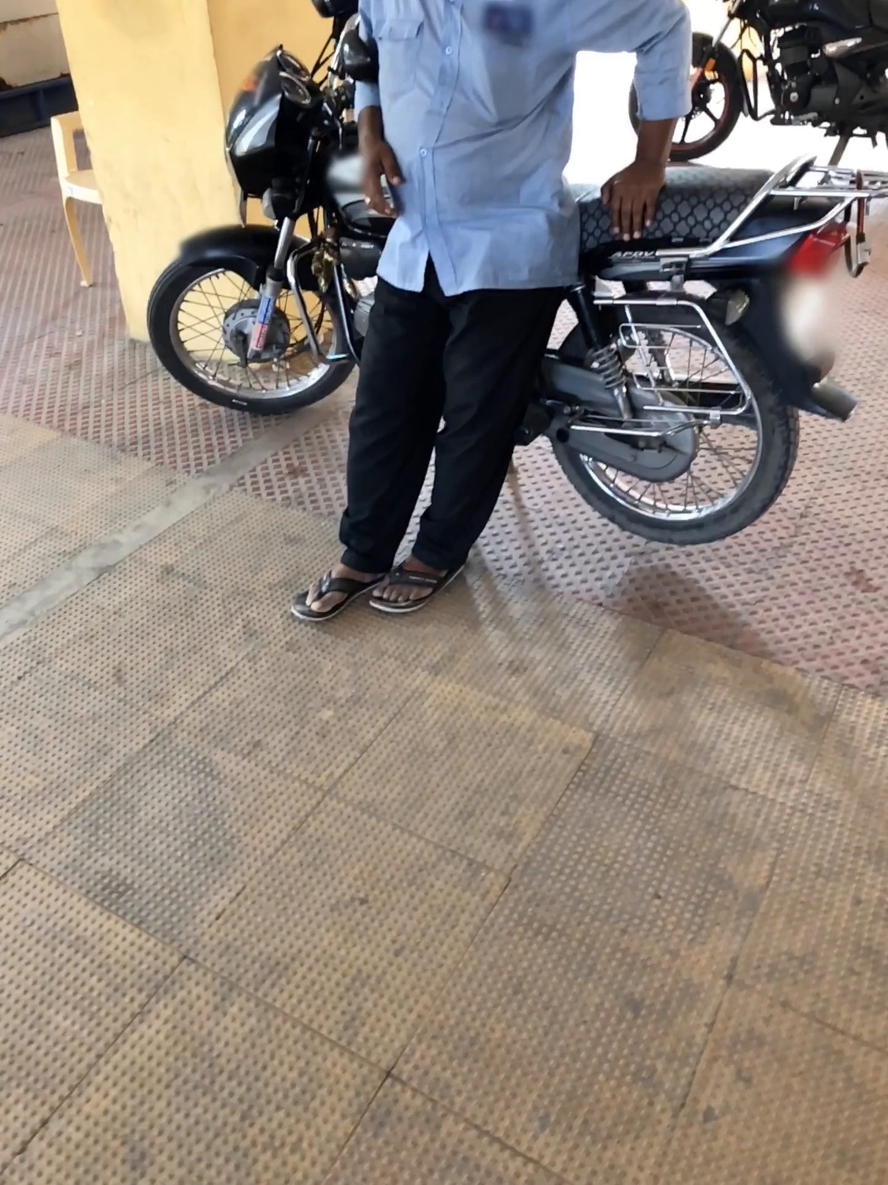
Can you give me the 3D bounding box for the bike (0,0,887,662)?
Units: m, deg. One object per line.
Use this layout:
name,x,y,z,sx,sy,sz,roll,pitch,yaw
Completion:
bike,-0.068,-0.704,2.153,1.675,1.036,0.682,20,42,24
